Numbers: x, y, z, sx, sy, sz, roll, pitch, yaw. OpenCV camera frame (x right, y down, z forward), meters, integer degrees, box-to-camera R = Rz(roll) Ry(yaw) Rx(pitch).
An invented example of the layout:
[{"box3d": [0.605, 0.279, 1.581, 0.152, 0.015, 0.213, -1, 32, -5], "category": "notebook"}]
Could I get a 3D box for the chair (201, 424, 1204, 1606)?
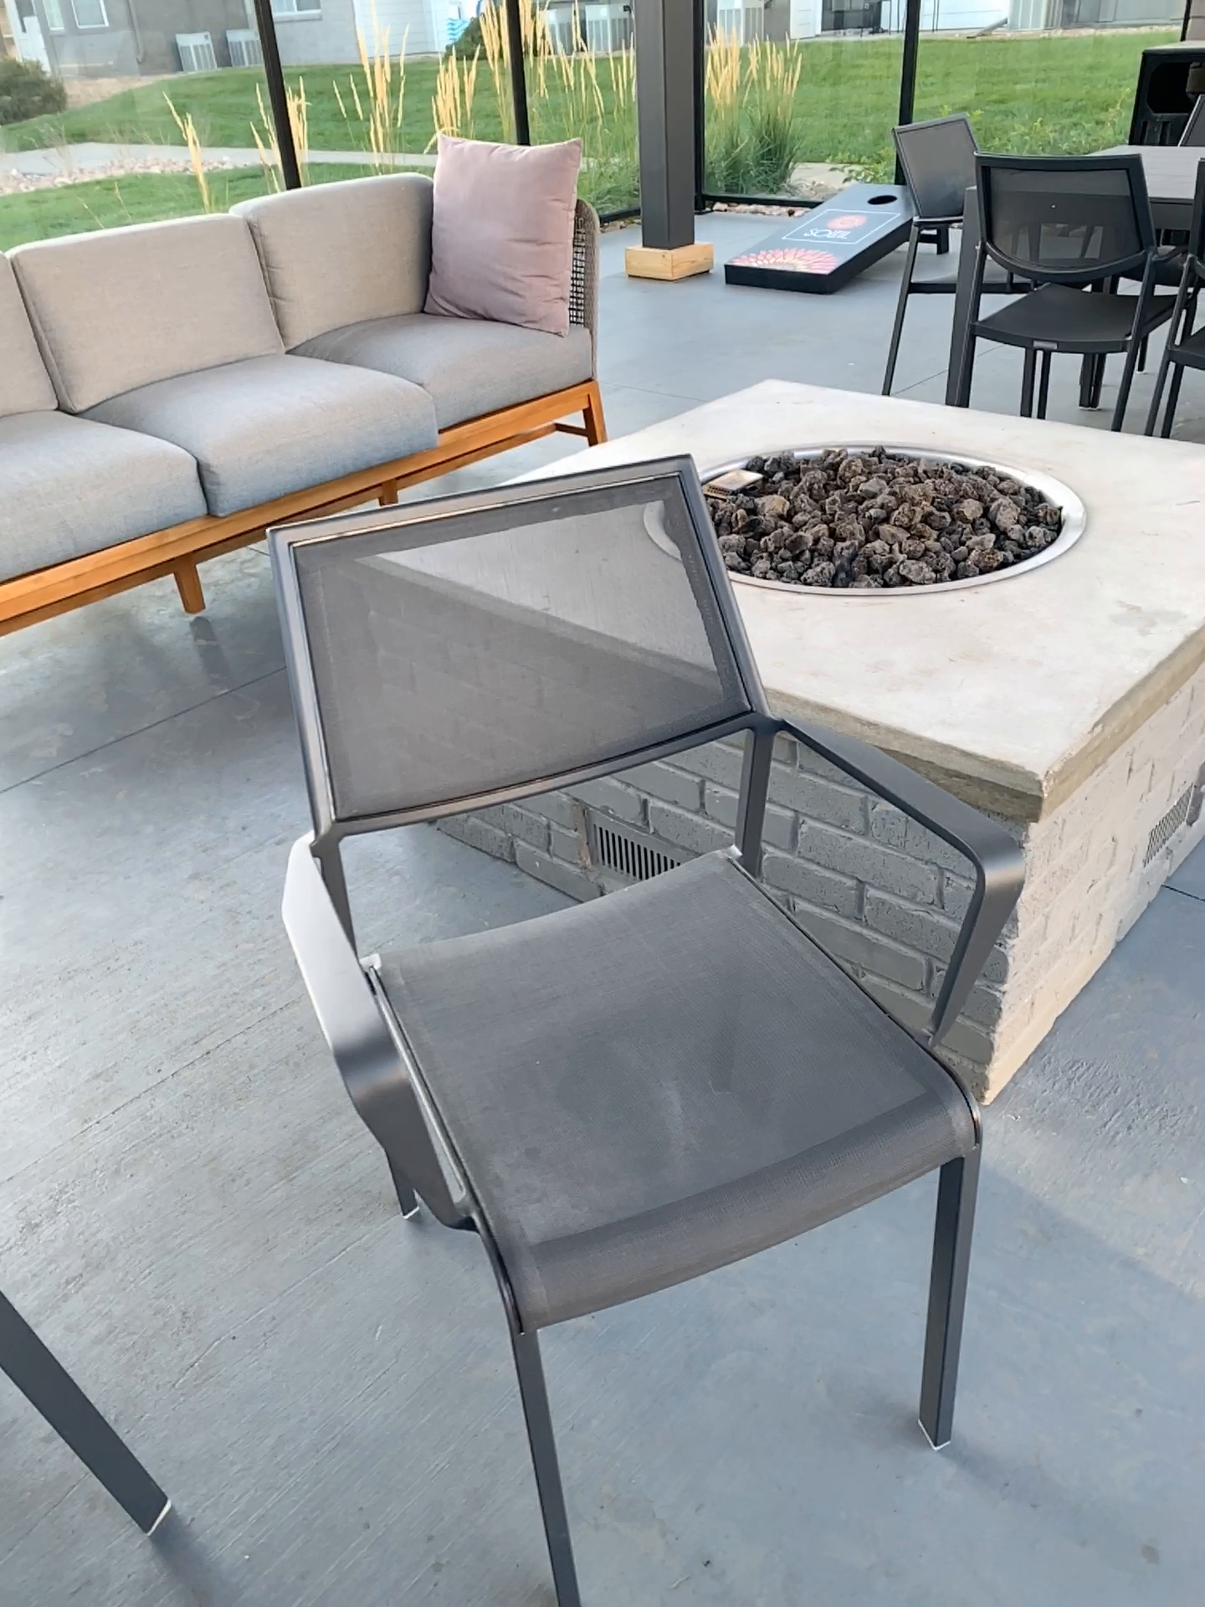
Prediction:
[{"box3d": [0.032, 0.174, 1.114, 0.510, 0.806, 0.613, -16, 34, -18], "category": "chair"}]
